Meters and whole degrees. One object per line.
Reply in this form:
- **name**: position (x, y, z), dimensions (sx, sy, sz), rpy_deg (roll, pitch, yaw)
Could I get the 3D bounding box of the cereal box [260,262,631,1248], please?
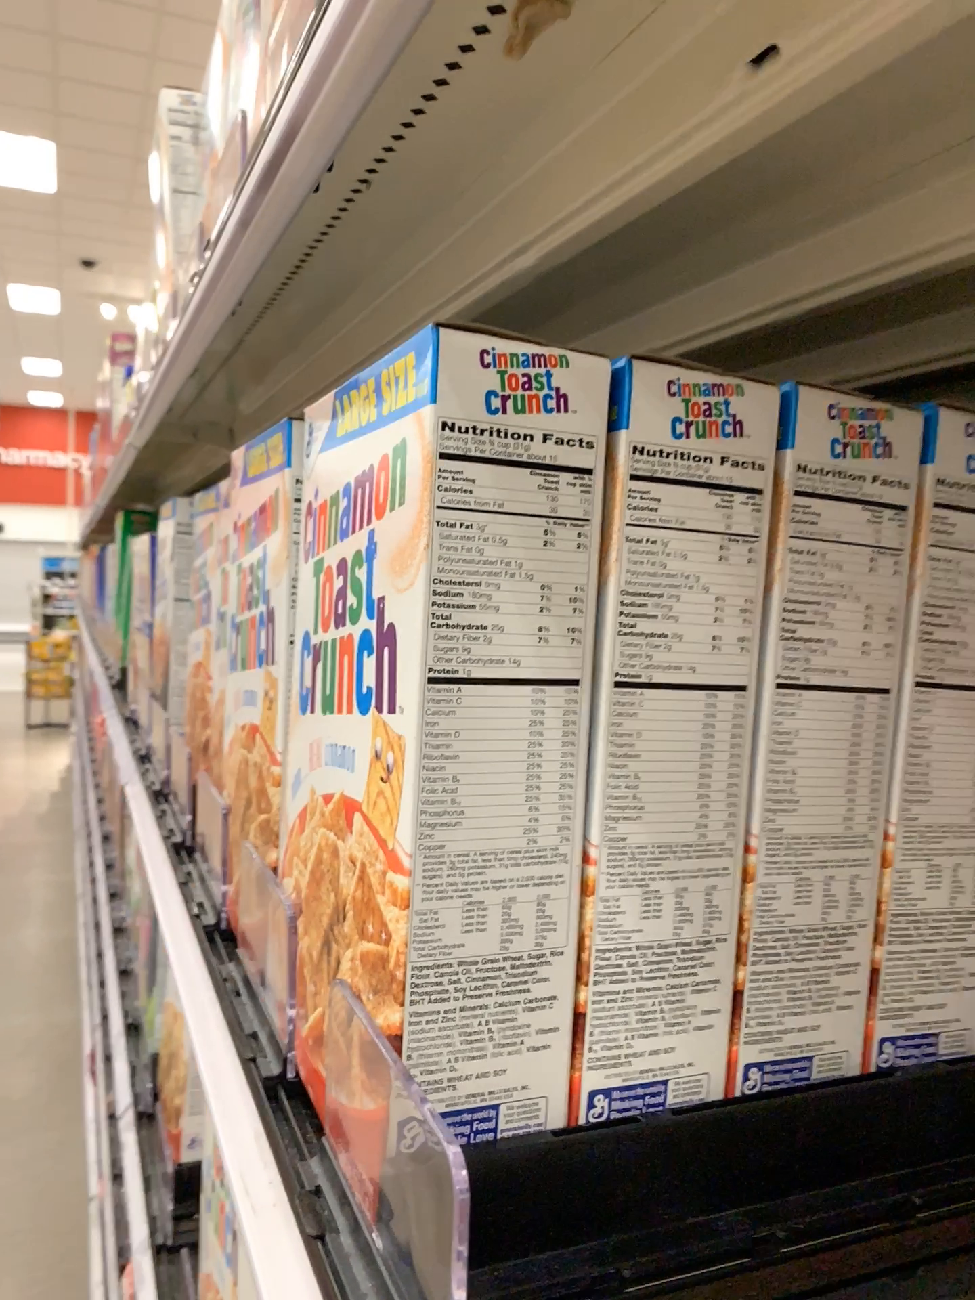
- **cereal box**: position (-0.031, 0.028, 0.396), dimensions (0.070, 0.290, 0.190), rpy_deg (2, 3, -22)
